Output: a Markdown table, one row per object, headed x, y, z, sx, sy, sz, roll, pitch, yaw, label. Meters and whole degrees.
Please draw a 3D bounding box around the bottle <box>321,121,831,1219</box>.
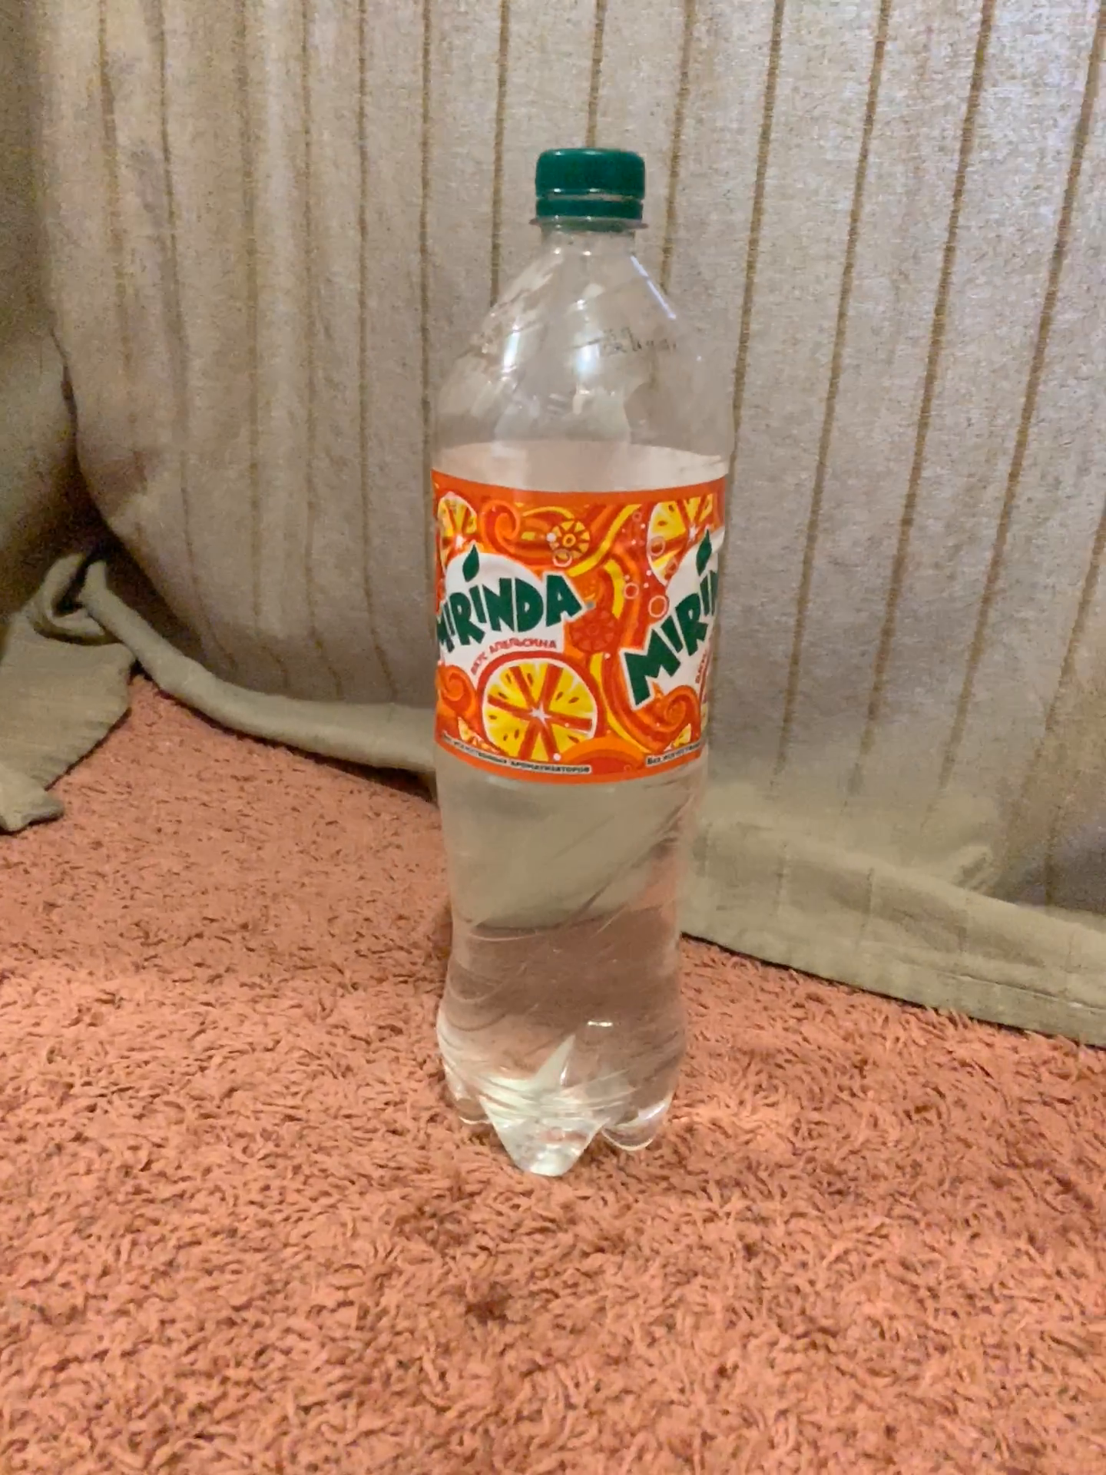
| x | y | z | sx | sy | sz | roll | pitch | yaw | label |
| --- | --- | --- | --- | --- | --- | --- | --- | --- | --- |
| 0.002 | -0.019 | 0.360 | 0.100 | 0.298 | 0.101 | 2 | 21 | -1 | bottle |
